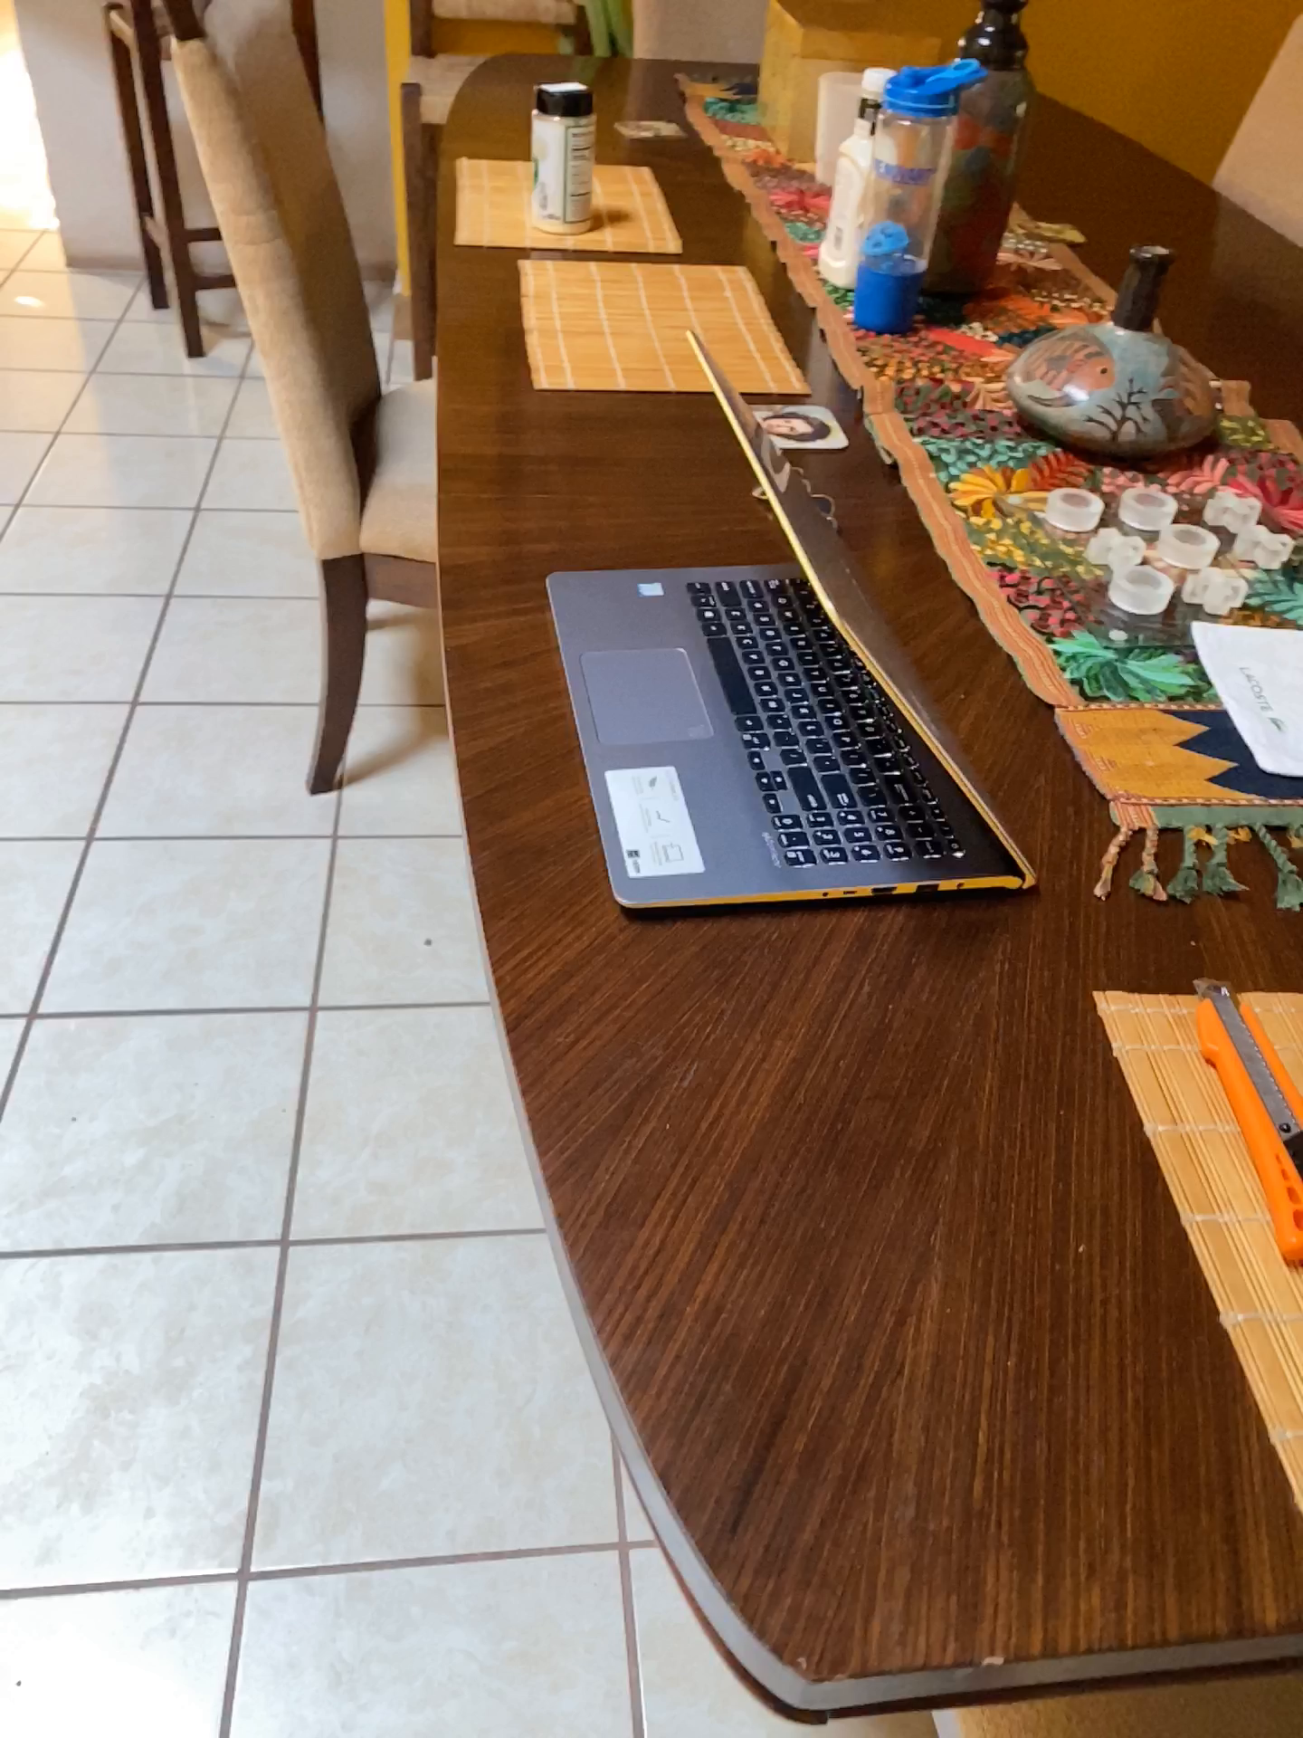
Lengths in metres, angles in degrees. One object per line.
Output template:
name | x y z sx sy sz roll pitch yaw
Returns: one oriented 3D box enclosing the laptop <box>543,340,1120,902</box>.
laptop | 0.079 -0.181 0.860 0.250 0.181 0.378 -4 42 -10
